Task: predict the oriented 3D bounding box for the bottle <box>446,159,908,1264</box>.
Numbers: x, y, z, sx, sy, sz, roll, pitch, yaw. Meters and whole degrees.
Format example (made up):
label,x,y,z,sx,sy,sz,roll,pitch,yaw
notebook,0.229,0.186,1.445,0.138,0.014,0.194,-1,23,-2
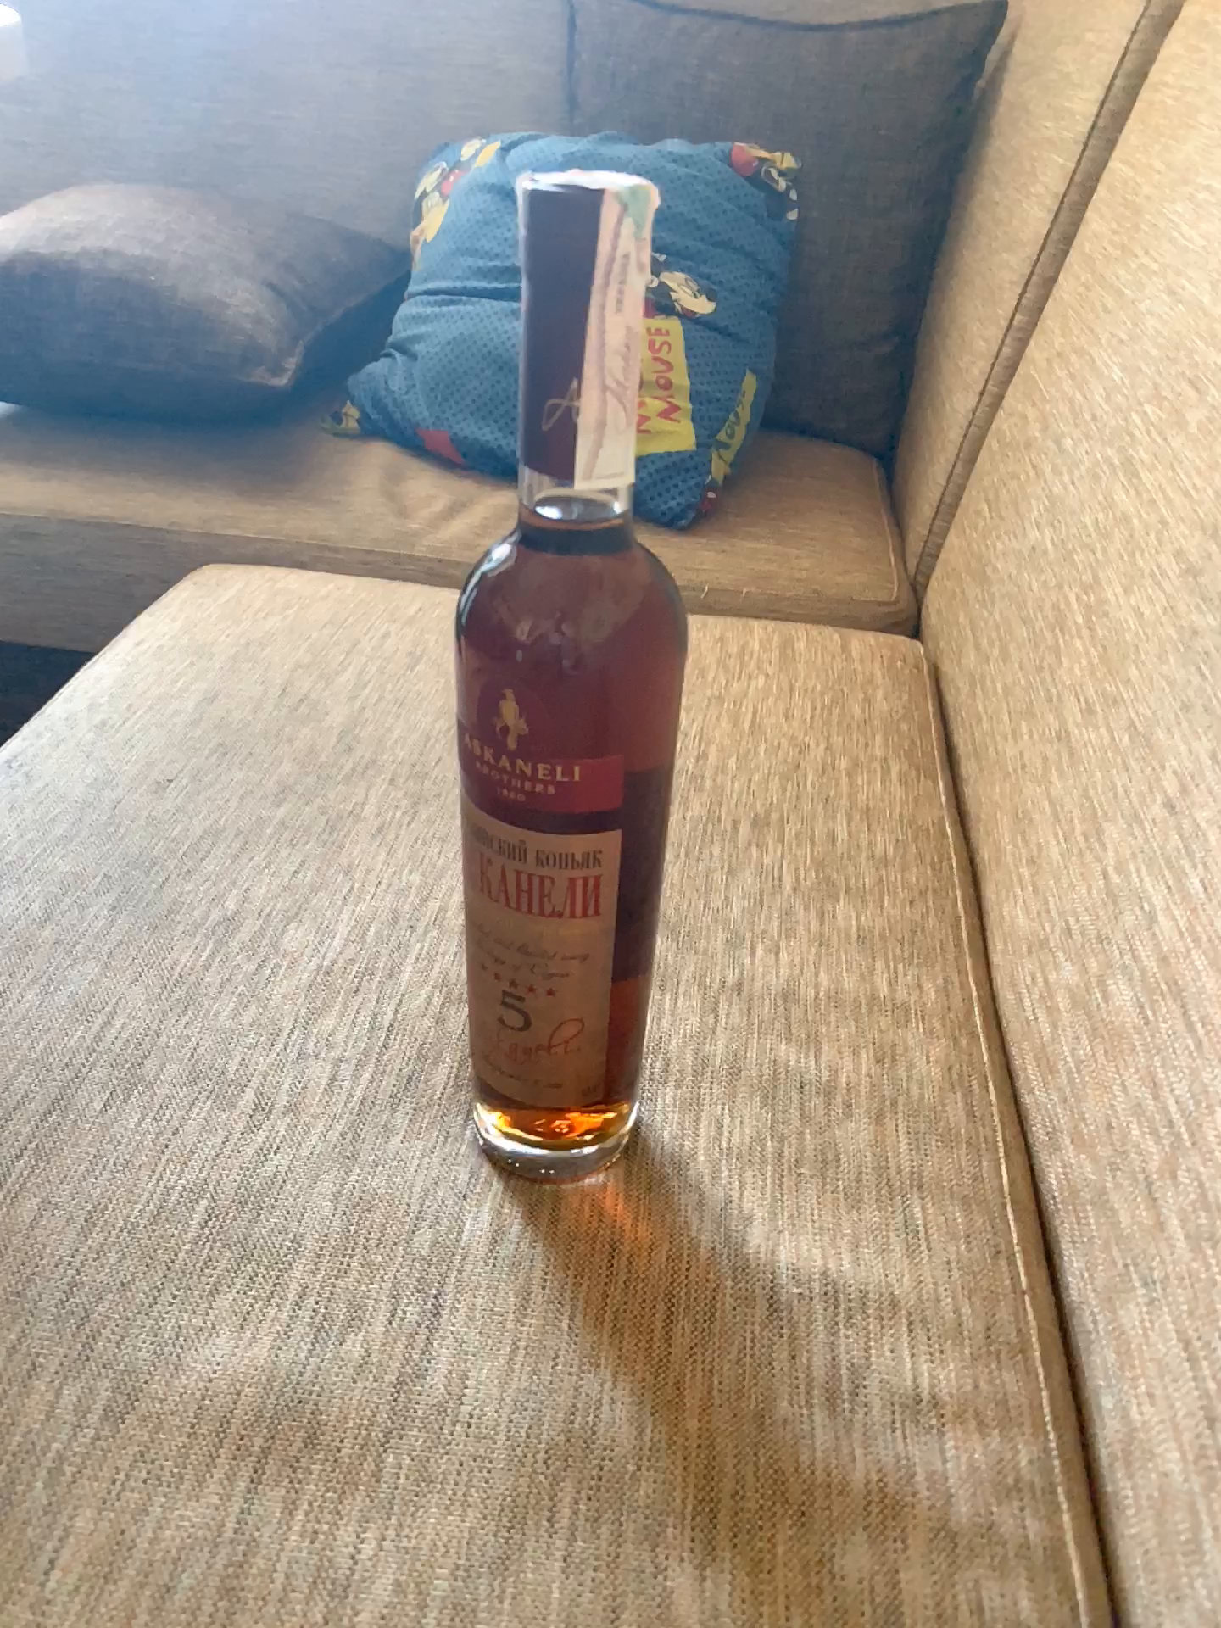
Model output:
label,x,y,z,sx,sy,sz,roll,pitch,yaw
bottle,0.006,-0.011,0.332,0.070,0.279,0.070,3,33,-2
